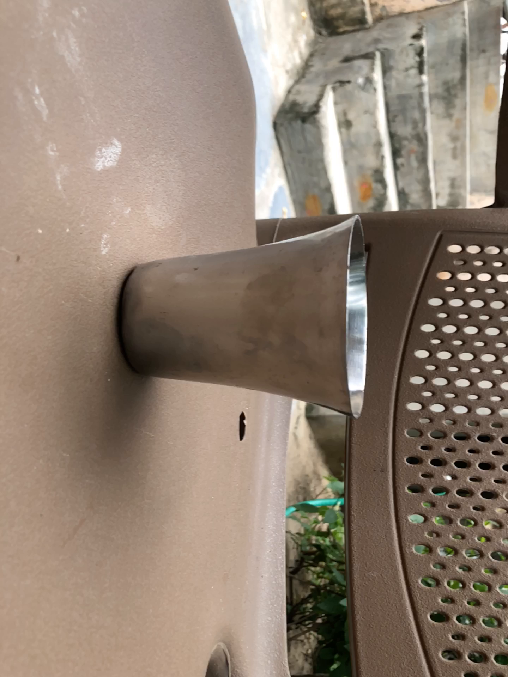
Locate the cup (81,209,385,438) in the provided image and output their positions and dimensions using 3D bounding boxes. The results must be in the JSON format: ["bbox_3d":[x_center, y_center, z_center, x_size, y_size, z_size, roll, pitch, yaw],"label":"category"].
[{"bbox_3d":[-0.001,-0.008,0.244,0.080,0.099,0.070,-52,135,-64],"label":"cup"}]
